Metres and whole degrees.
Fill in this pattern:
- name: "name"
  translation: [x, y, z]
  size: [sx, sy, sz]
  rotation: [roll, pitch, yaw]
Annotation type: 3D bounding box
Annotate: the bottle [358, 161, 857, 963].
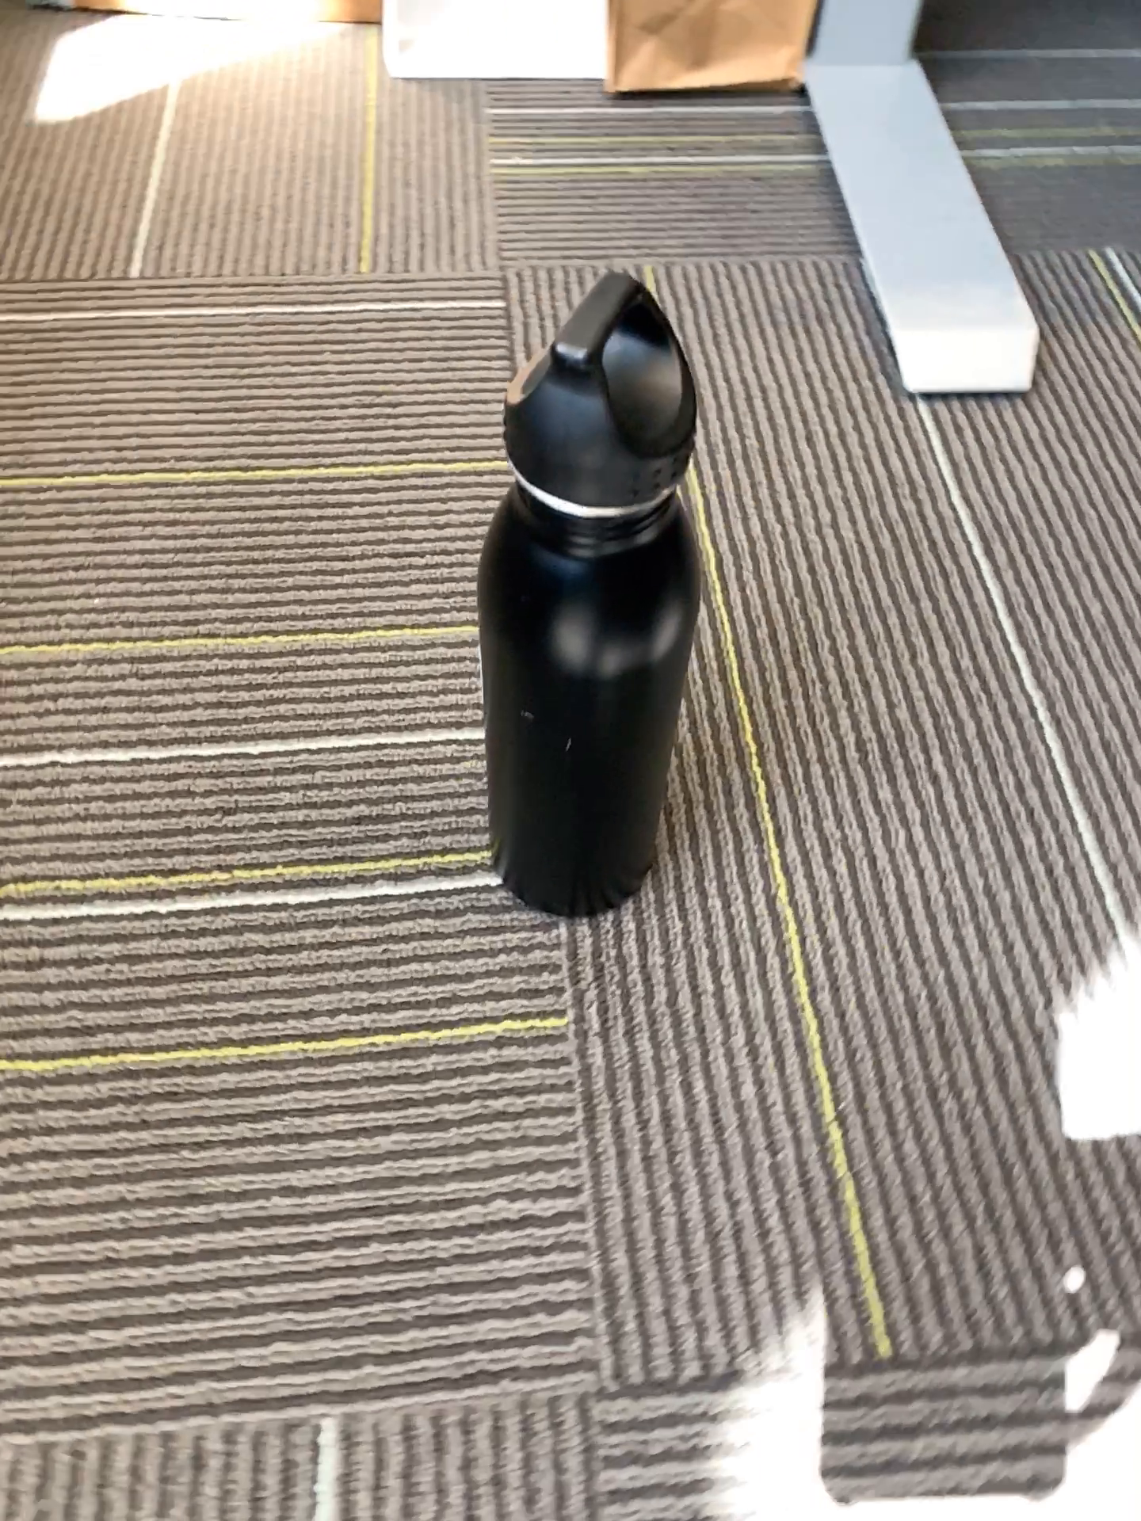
- name: "bottle"
  translation: [0.007, -0.041, 0.383]
  size: [0.080, 0.249, 0.090]
  rotation: [37, 63, 20]
